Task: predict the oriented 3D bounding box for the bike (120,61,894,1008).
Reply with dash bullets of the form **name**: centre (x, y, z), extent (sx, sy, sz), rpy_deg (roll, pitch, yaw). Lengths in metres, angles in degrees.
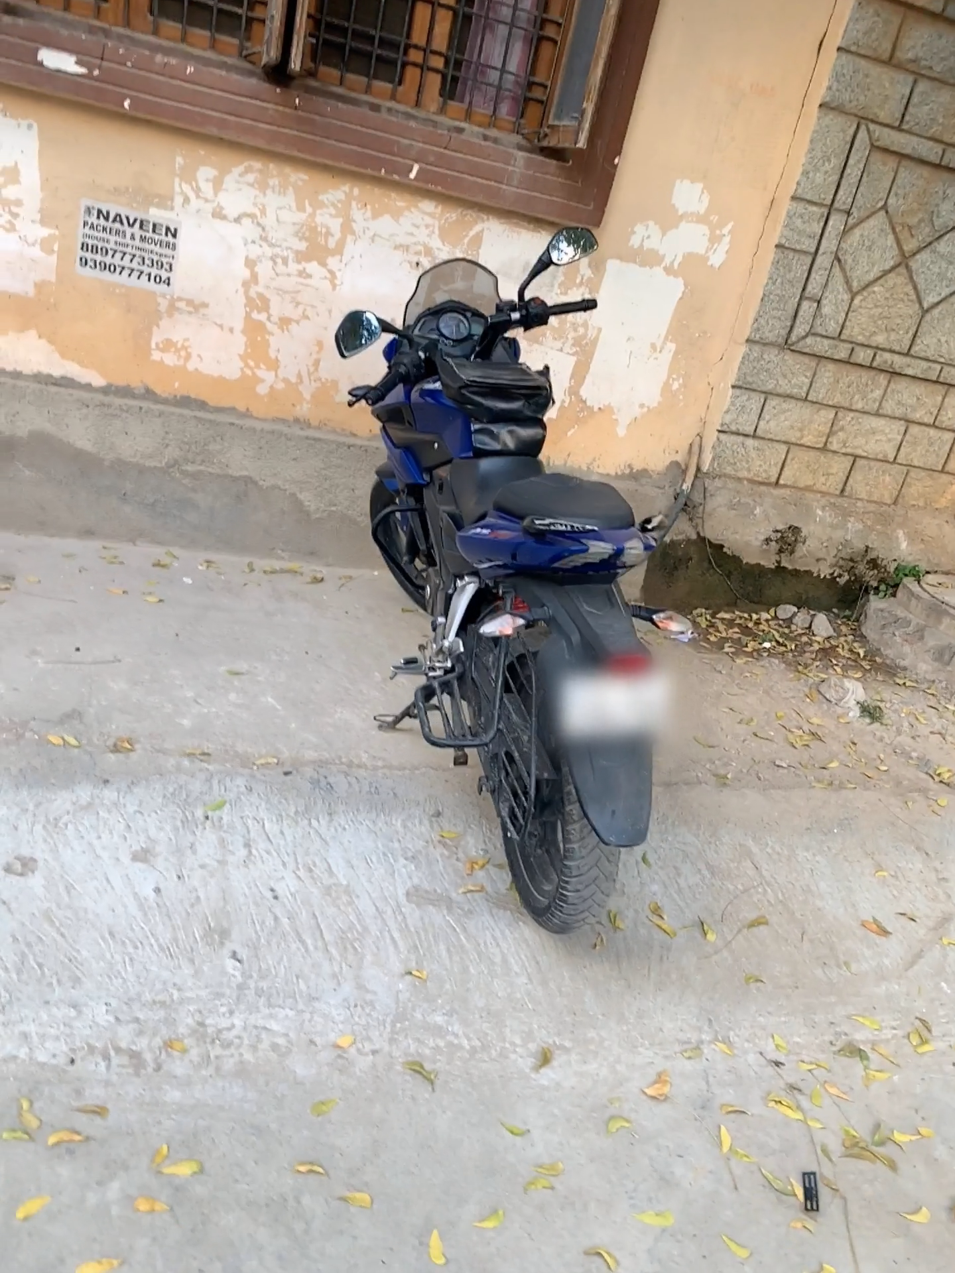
- **bike**: centre (-0.189, -0.328, 2.214), extent (0.954, 1.218, 1.572), rpy_deg (2, 33, -25)
